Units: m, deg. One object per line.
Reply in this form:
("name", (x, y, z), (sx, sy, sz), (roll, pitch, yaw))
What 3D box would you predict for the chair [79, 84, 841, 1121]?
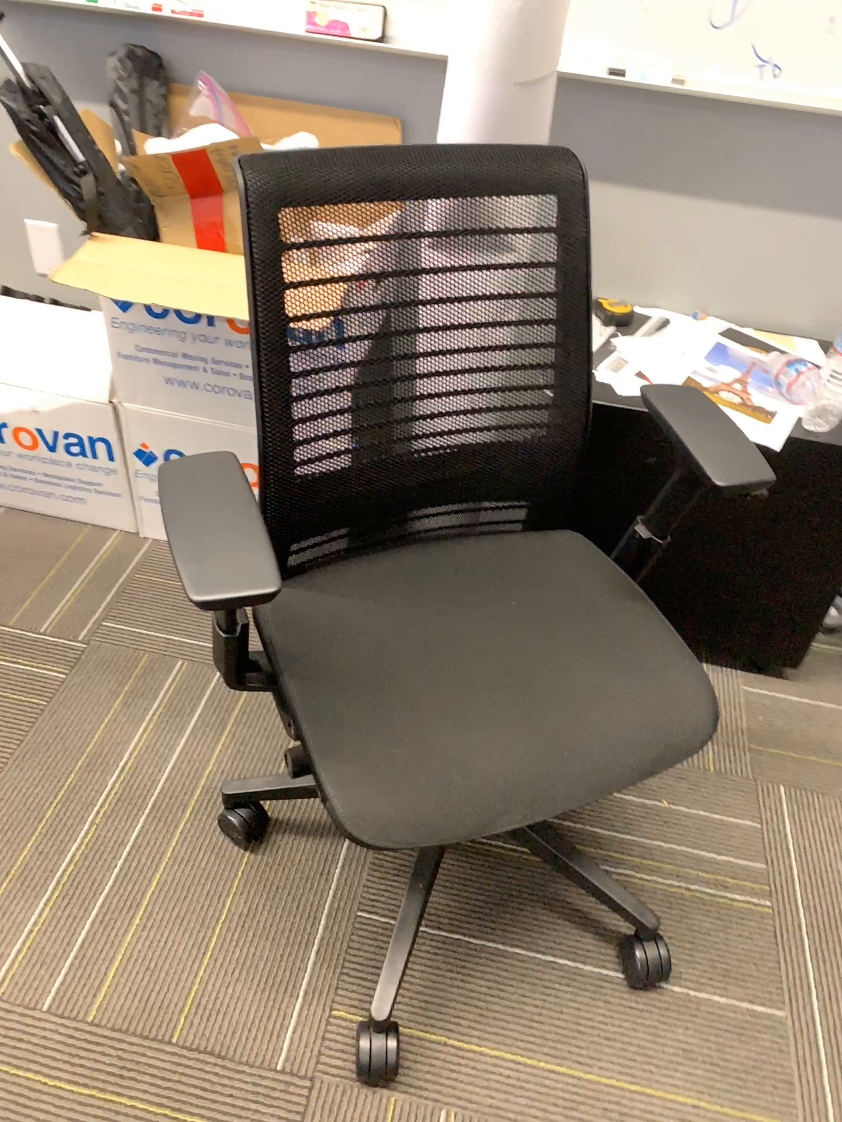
("chair", (0.081, 0.036, 1.012), (0.660, 0.915, 0.684), (-14, 44, -23))
